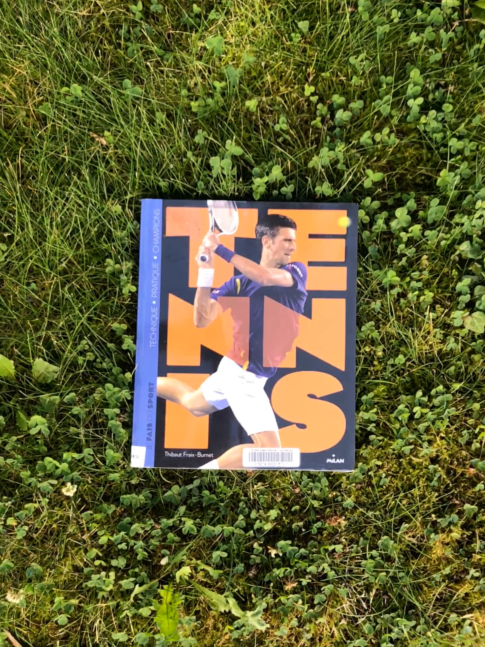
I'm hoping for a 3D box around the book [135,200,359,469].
[{"bbox_3d":[0.006,0.009,0.488,0.198,0.017,0.240,1,87,-2],"label":"book"}]
